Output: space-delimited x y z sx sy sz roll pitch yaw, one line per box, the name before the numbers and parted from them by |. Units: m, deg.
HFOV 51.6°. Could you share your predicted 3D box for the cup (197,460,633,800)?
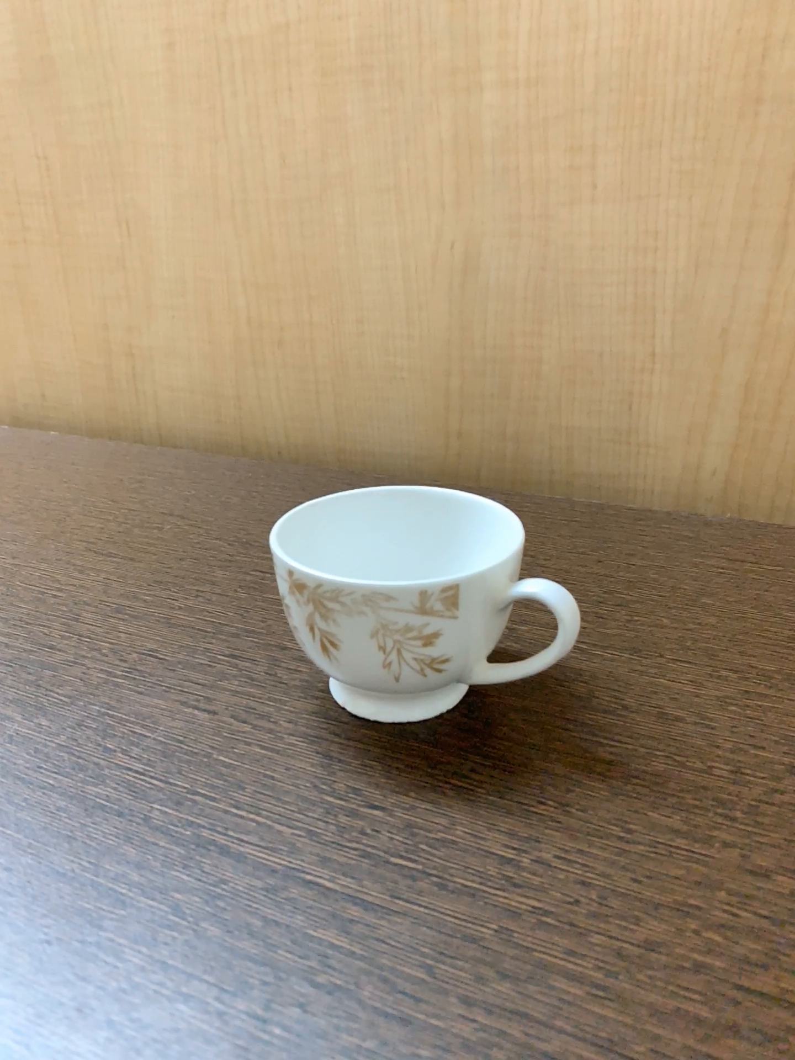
cup | 0.008 0.020 0.248 0.100 0.050 0.080 12 25 29
